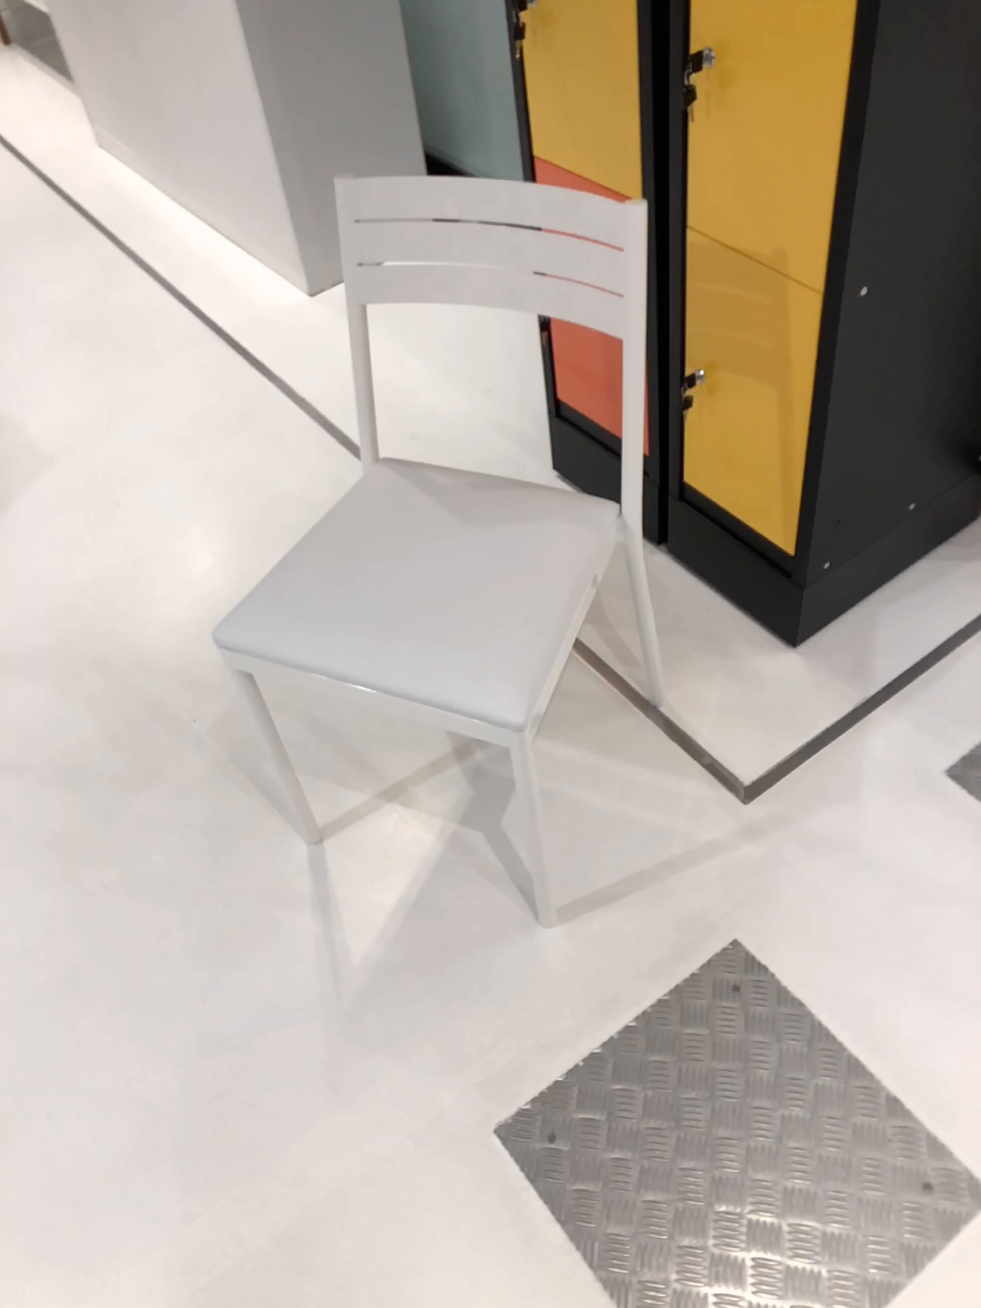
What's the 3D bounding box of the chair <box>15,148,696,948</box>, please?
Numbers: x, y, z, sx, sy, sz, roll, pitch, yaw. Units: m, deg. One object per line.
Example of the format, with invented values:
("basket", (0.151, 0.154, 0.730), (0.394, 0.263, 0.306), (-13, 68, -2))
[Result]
("chair", (-0.067, -0.120, 1.336), (0.481, 0.735, 0.533), (15, 53, 22))
